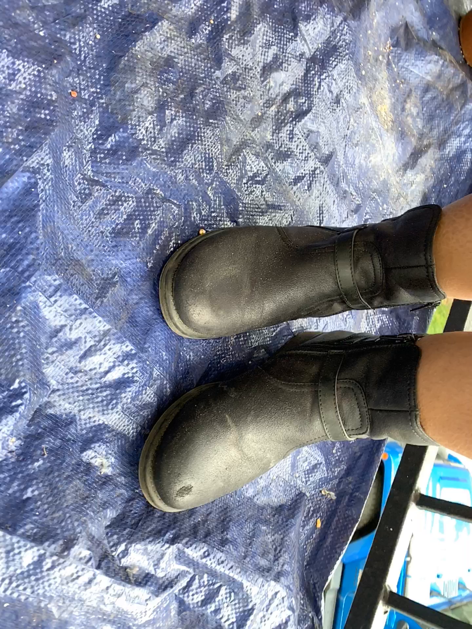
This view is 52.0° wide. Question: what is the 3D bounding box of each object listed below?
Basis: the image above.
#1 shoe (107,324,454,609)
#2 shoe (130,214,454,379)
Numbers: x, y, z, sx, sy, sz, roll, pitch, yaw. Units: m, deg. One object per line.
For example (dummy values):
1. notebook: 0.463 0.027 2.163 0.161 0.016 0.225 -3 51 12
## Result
1. shoe: 0.057 0.085 0.392 0.281 0.109 0.110 -12 97 -42
2. shoe: 0.067 -0.025 0.435 0.282 0.129 0.100 -9 95 -43
